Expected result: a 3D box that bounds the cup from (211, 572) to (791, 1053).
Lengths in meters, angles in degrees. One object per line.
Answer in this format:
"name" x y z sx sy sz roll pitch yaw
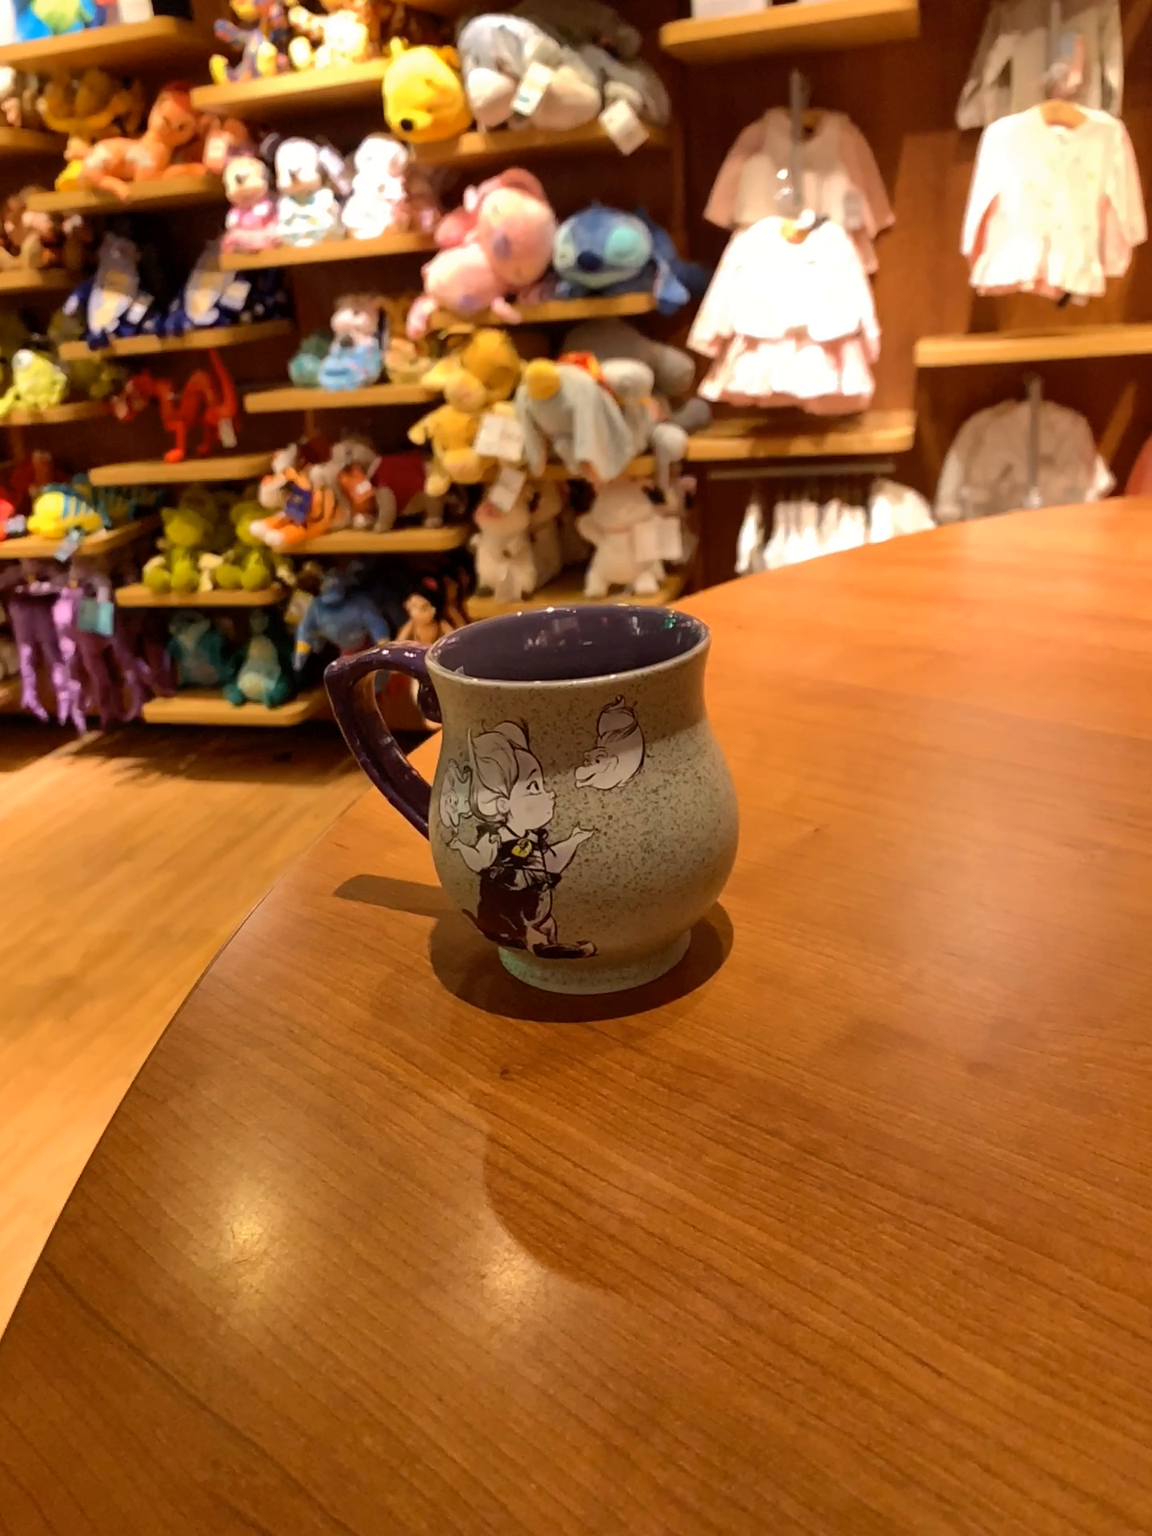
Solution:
"cup" -0.020 0.002 0.392 0.140 0.099 0.115 10 26 34
